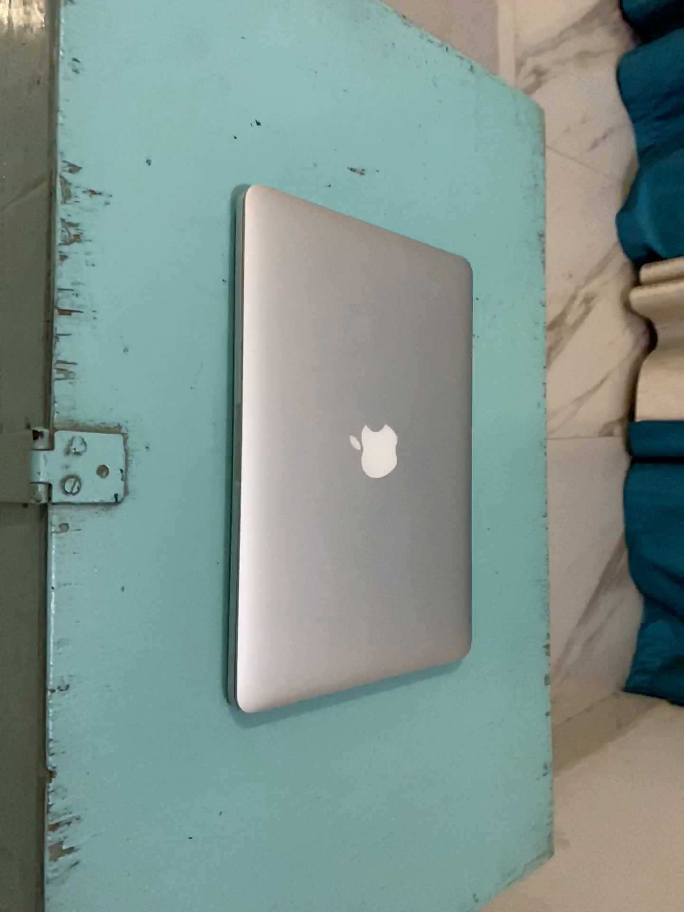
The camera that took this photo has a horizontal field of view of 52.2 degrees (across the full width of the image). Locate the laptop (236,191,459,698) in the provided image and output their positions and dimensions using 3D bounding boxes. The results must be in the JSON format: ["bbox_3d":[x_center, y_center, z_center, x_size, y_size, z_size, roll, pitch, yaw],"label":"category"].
[{"bbox_3d":[0.015,-0.004,0.478,0.210,0.007,0.291,1,89,-45],"label":"laptop"}]
